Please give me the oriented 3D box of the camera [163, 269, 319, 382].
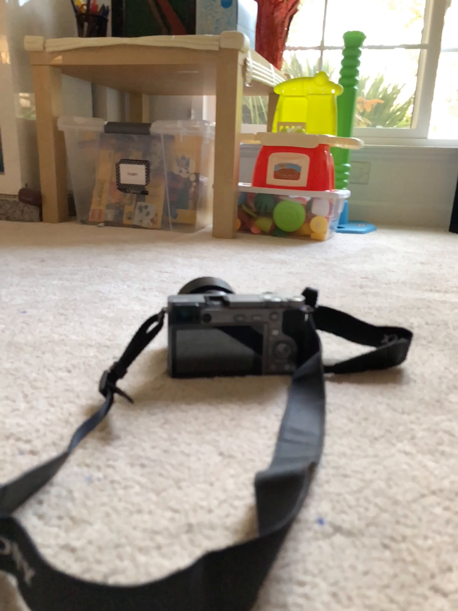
[{"bbox_3d":[0.003,0.013,0.439,0.120,0.070,0.100,0,15,-8],"label":"camera"}]
